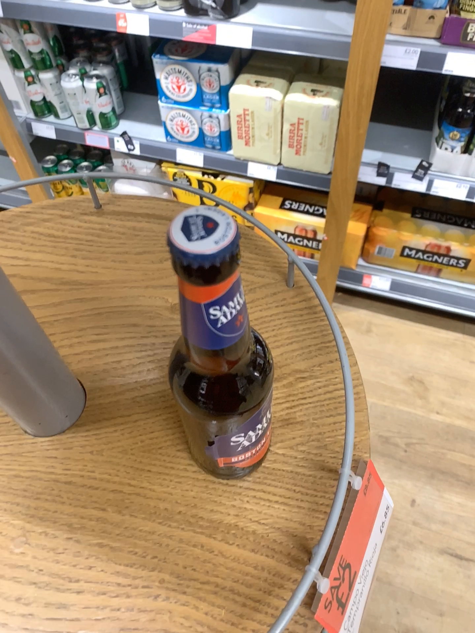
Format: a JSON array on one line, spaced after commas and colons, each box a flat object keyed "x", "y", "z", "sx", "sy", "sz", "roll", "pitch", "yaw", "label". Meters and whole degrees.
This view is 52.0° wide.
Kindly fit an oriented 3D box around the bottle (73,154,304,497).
[{"x": -0.012, "y": 0.027, "z": 0.265, "sx": 0.061, "sy": 0.211, "sz": 0.063, "roll": -2, "pitch": 55, "yaw": 2, "label": "bottle"}]
